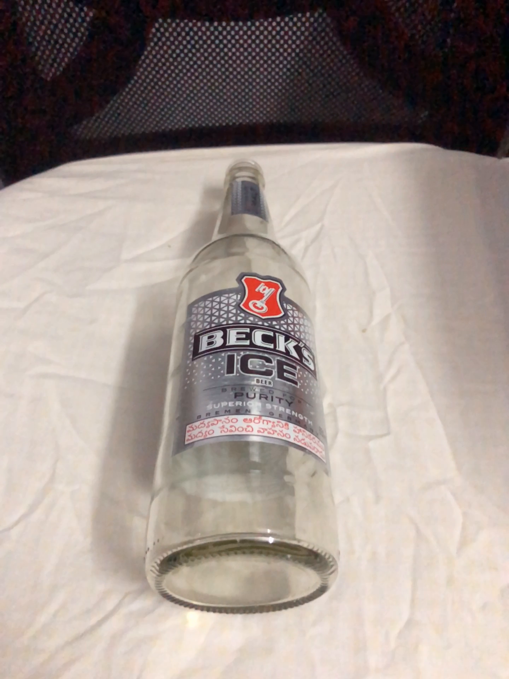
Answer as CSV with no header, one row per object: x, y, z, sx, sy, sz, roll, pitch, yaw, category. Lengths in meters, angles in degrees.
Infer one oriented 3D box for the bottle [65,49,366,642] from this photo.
-0.013,-0.024,0.265,0.080,0.080,0.281,-2,54,1,bottle
